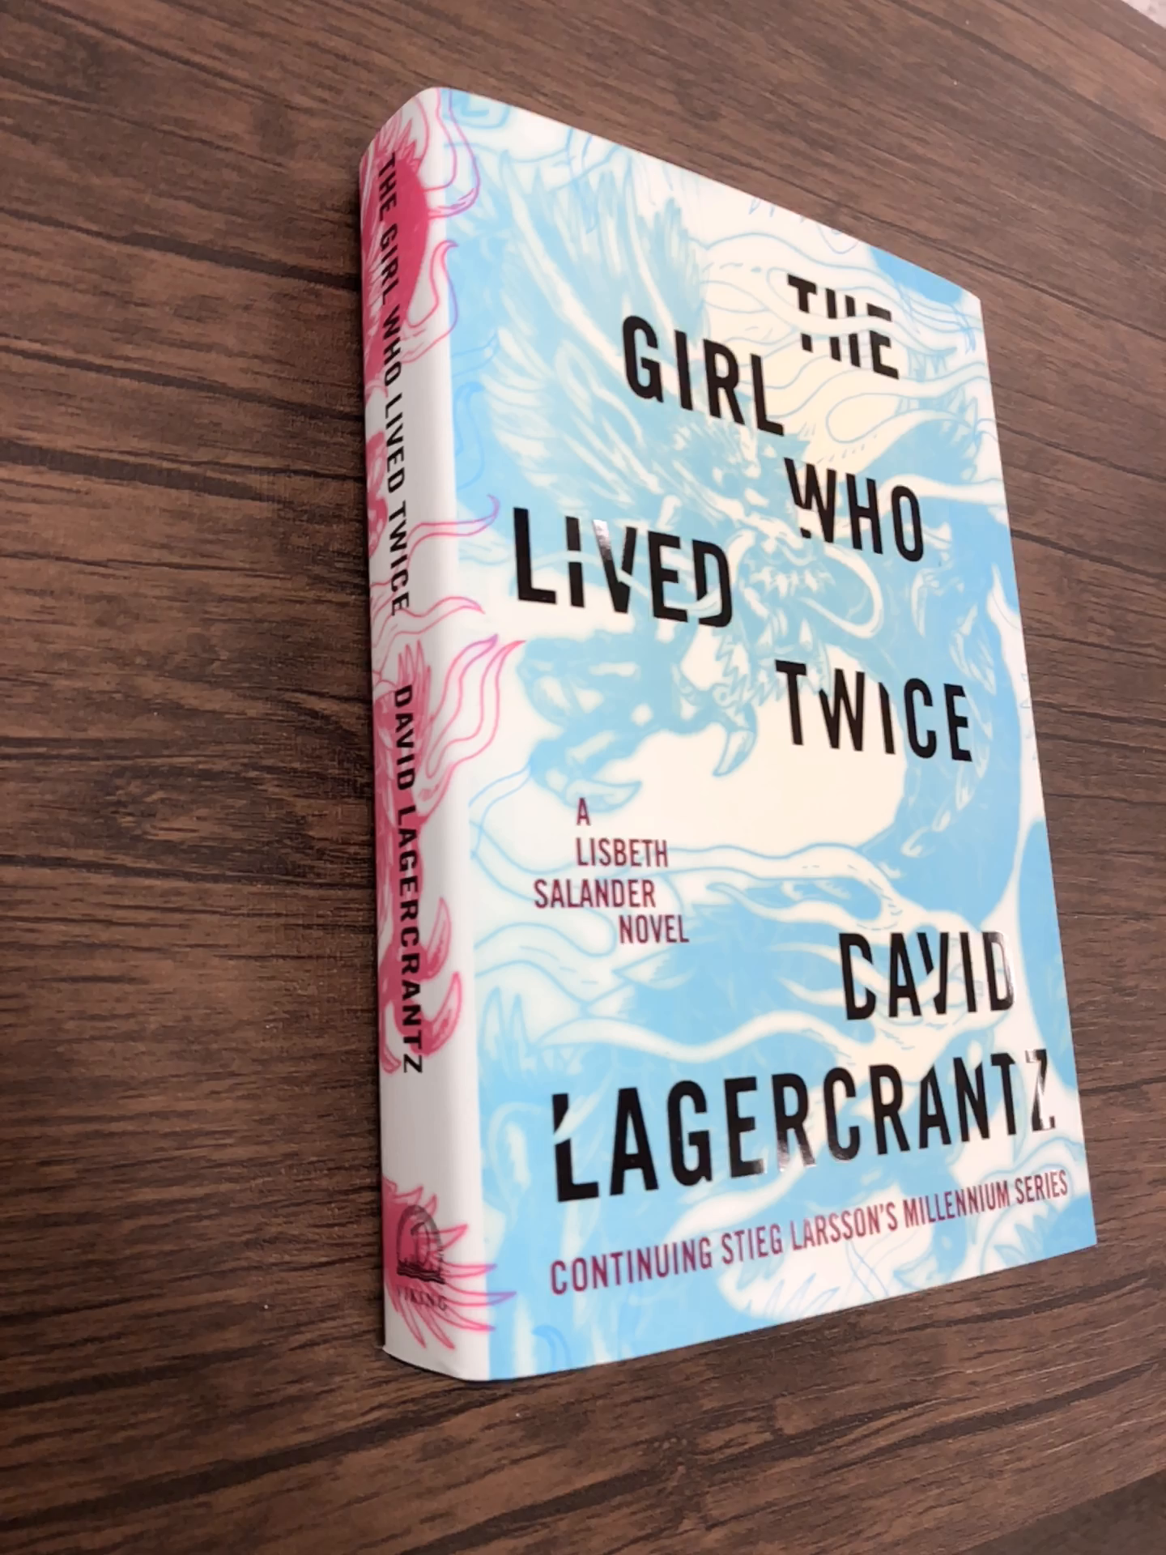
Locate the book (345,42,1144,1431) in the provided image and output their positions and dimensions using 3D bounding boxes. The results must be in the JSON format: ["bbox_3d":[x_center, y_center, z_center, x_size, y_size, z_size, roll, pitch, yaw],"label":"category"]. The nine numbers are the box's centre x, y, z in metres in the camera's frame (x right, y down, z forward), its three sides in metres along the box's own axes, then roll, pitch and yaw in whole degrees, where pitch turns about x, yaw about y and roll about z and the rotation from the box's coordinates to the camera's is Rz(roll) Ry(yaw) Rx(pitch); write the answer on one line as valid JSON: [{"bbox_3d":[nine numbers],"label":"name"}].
[{"bbox_3d":[0.038,-0.010,0.282,0.171,0.040,0.240,4,77,-34],"label":"book"}]
